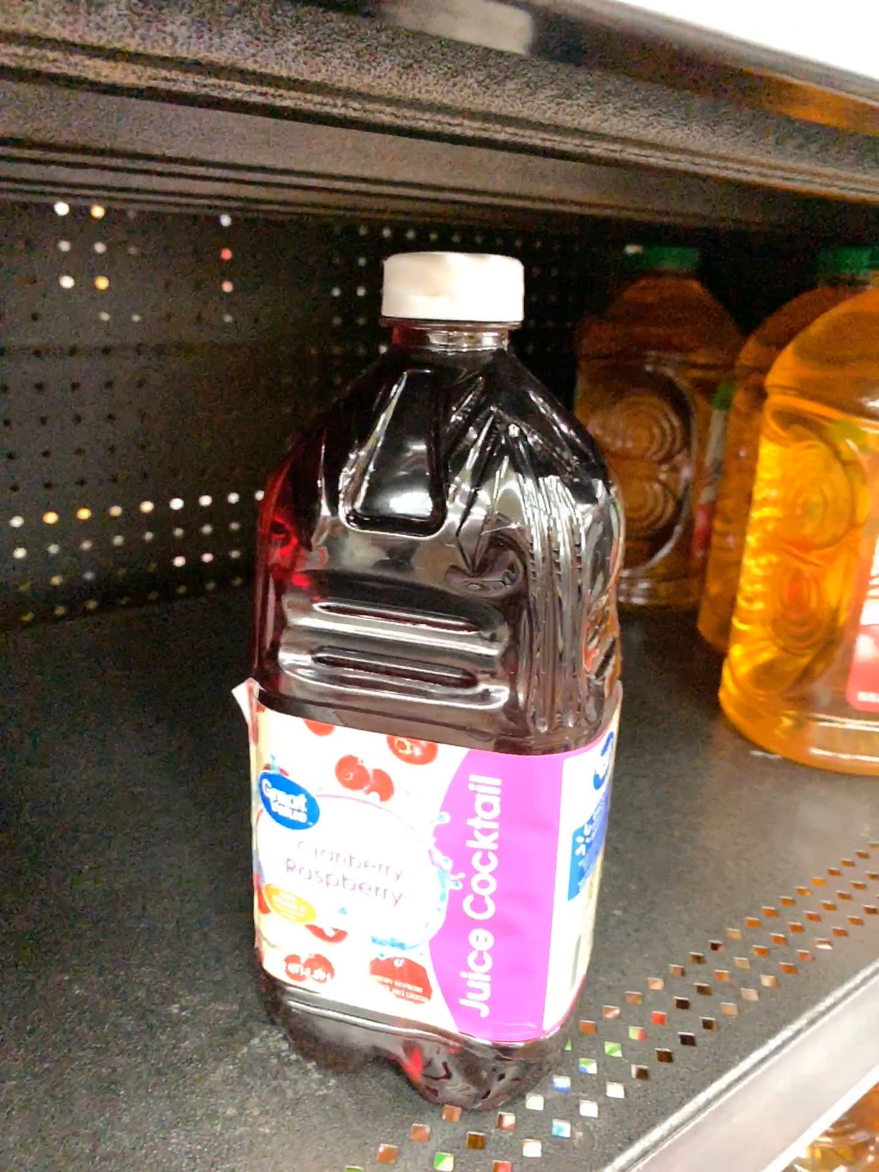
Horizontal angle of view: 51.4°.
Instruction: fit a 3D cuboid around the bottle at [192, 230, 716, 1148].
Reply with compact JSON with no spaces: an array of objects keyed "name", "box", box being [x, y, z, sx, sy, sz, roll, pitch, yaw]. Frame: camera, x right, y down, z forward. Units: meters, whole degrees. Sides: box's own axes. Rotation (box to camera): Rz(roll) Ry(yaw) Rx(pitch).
[{"name":"bottle","box":[0.006,0.026,0.301,0.125,0.259,0.100,9,20,15]}]
